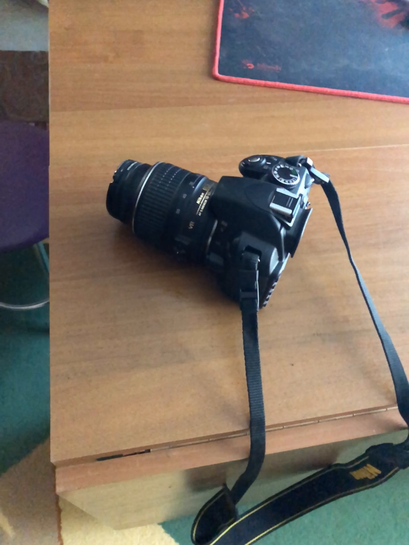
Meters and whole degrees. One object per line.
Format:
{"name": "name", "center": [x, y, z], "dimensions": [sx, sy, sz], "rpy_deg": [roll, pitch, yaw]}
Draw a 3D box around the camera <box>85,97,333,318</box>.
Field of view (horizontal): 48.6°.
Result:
{"name": "camera", "center": [0.004, -0.057, 0.382], "dimensions": [0.161, 0.078, 0.111], "rpy_deg": [23, 59, 8]}
